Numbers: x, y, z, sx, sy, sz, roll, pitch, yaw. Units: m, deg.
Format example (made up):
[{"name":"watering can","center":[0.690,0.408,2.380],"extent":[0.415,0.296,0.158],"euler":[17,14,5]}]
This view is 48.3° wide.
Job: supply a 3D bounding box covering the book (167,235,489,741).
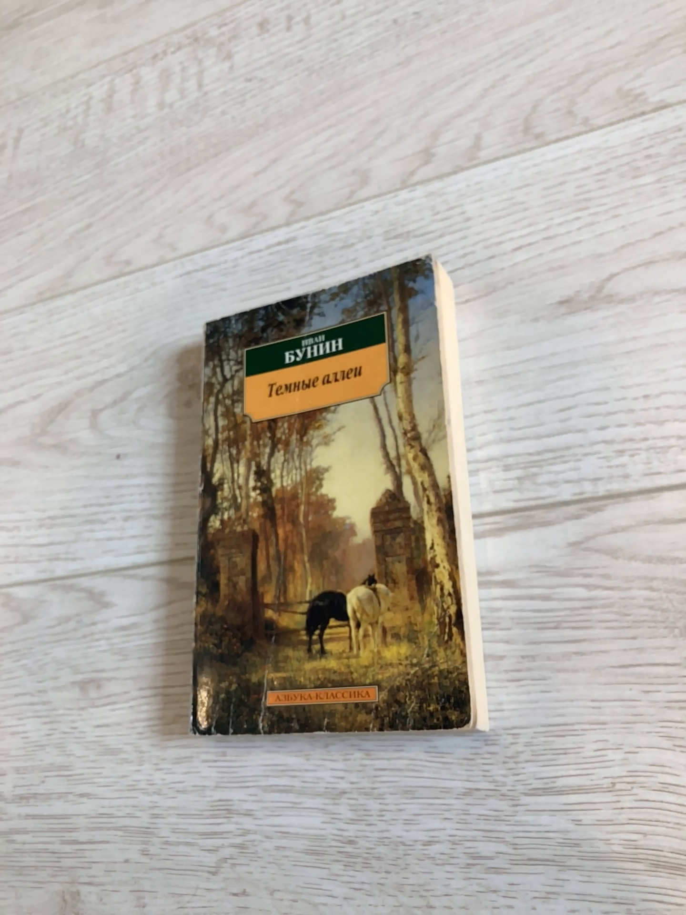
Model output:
[{"name":"book","center":[-0.011,0.013,0.292],"extent":[0.112,0.024,0.177],"euler":[-11,69,24]}]
